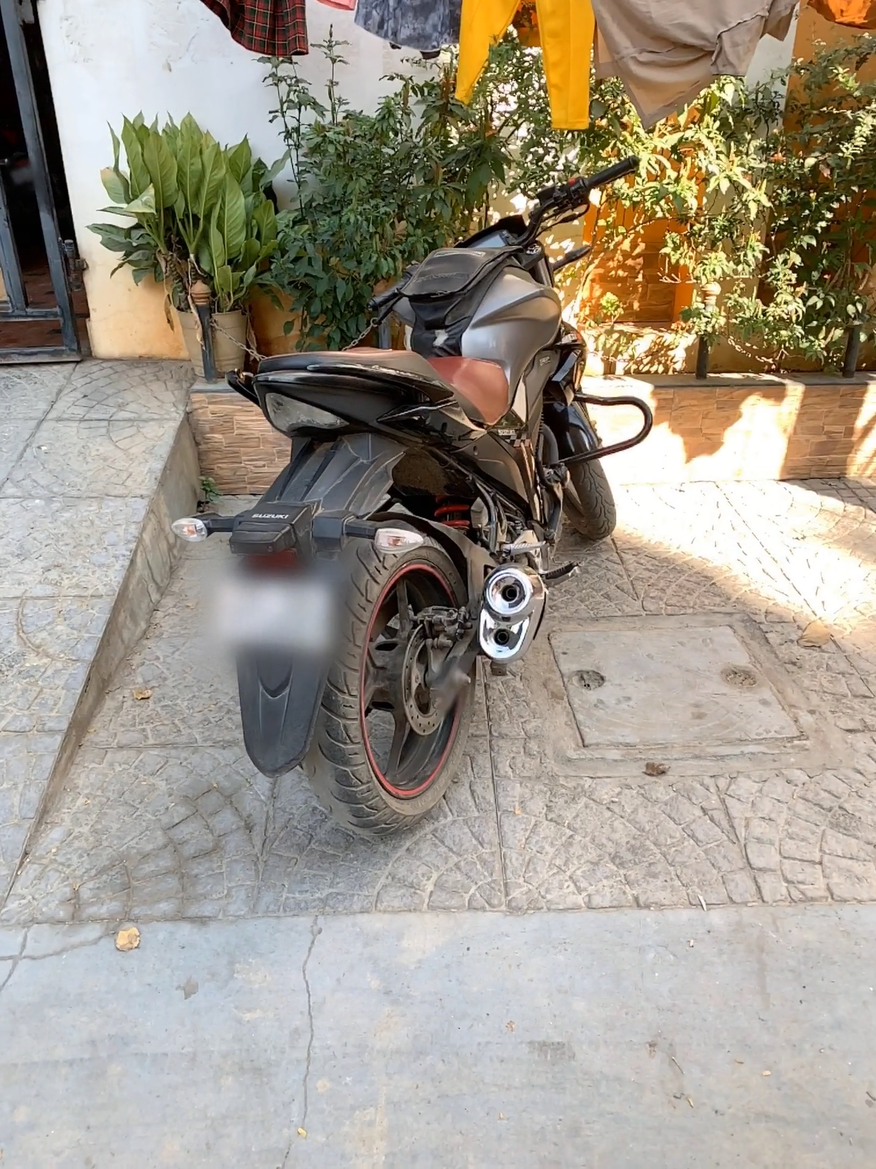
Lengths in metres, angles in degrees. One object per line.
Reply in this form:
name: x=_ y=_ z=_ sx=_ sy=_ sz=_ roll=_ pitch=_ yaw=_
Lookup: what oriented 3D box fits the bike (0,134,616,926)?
bike: x=-0.087 y=-0.379 z=2.074 sx=0.809 sy=1.140 sz=1.630 roll=6 pitch=28 yaw=13
